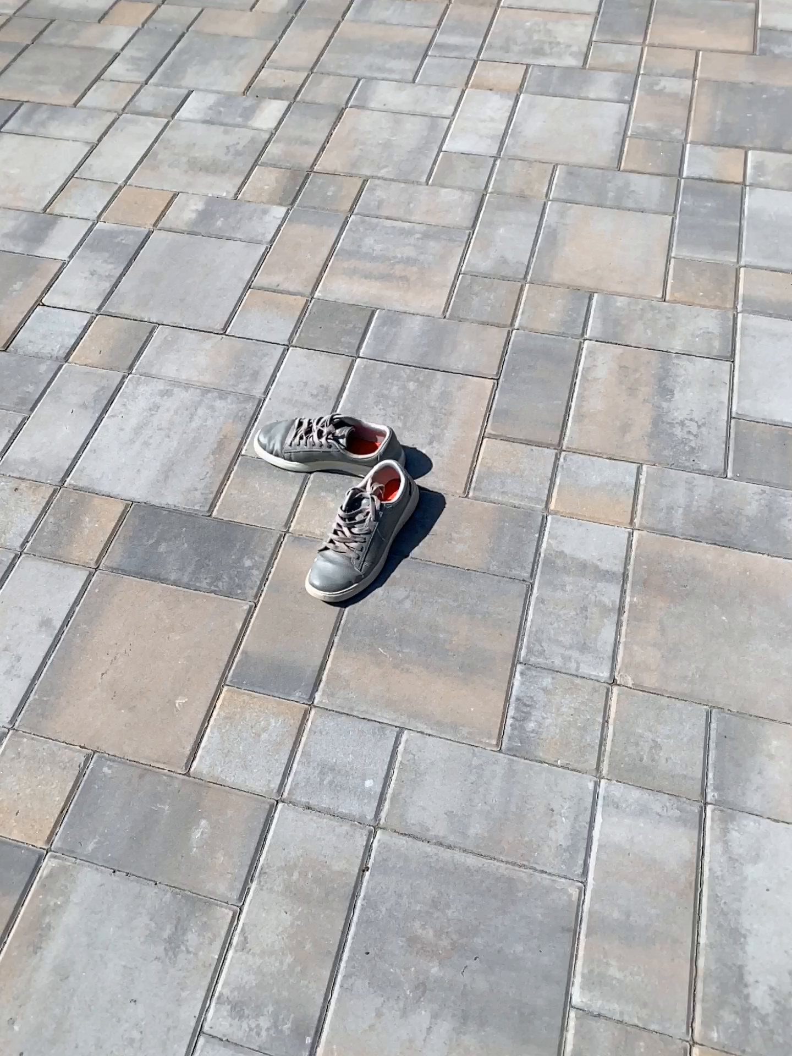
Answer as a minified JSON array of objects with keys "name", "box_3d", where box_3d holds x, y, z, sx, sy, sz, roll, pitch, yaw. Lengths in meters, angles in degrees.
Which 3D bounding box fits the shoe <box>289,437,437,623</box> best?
[{"name":"shoe","box_3d":[-0.050,-0.002,1.424,0.120,0.110,0.300,23,60,17]}]

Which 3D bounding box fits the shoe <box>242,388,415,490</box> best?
[{"name":"shoe","box_3d":[-0.124,-0.171,1.544,0.300,0.090,0.120,10,57,9]}]
